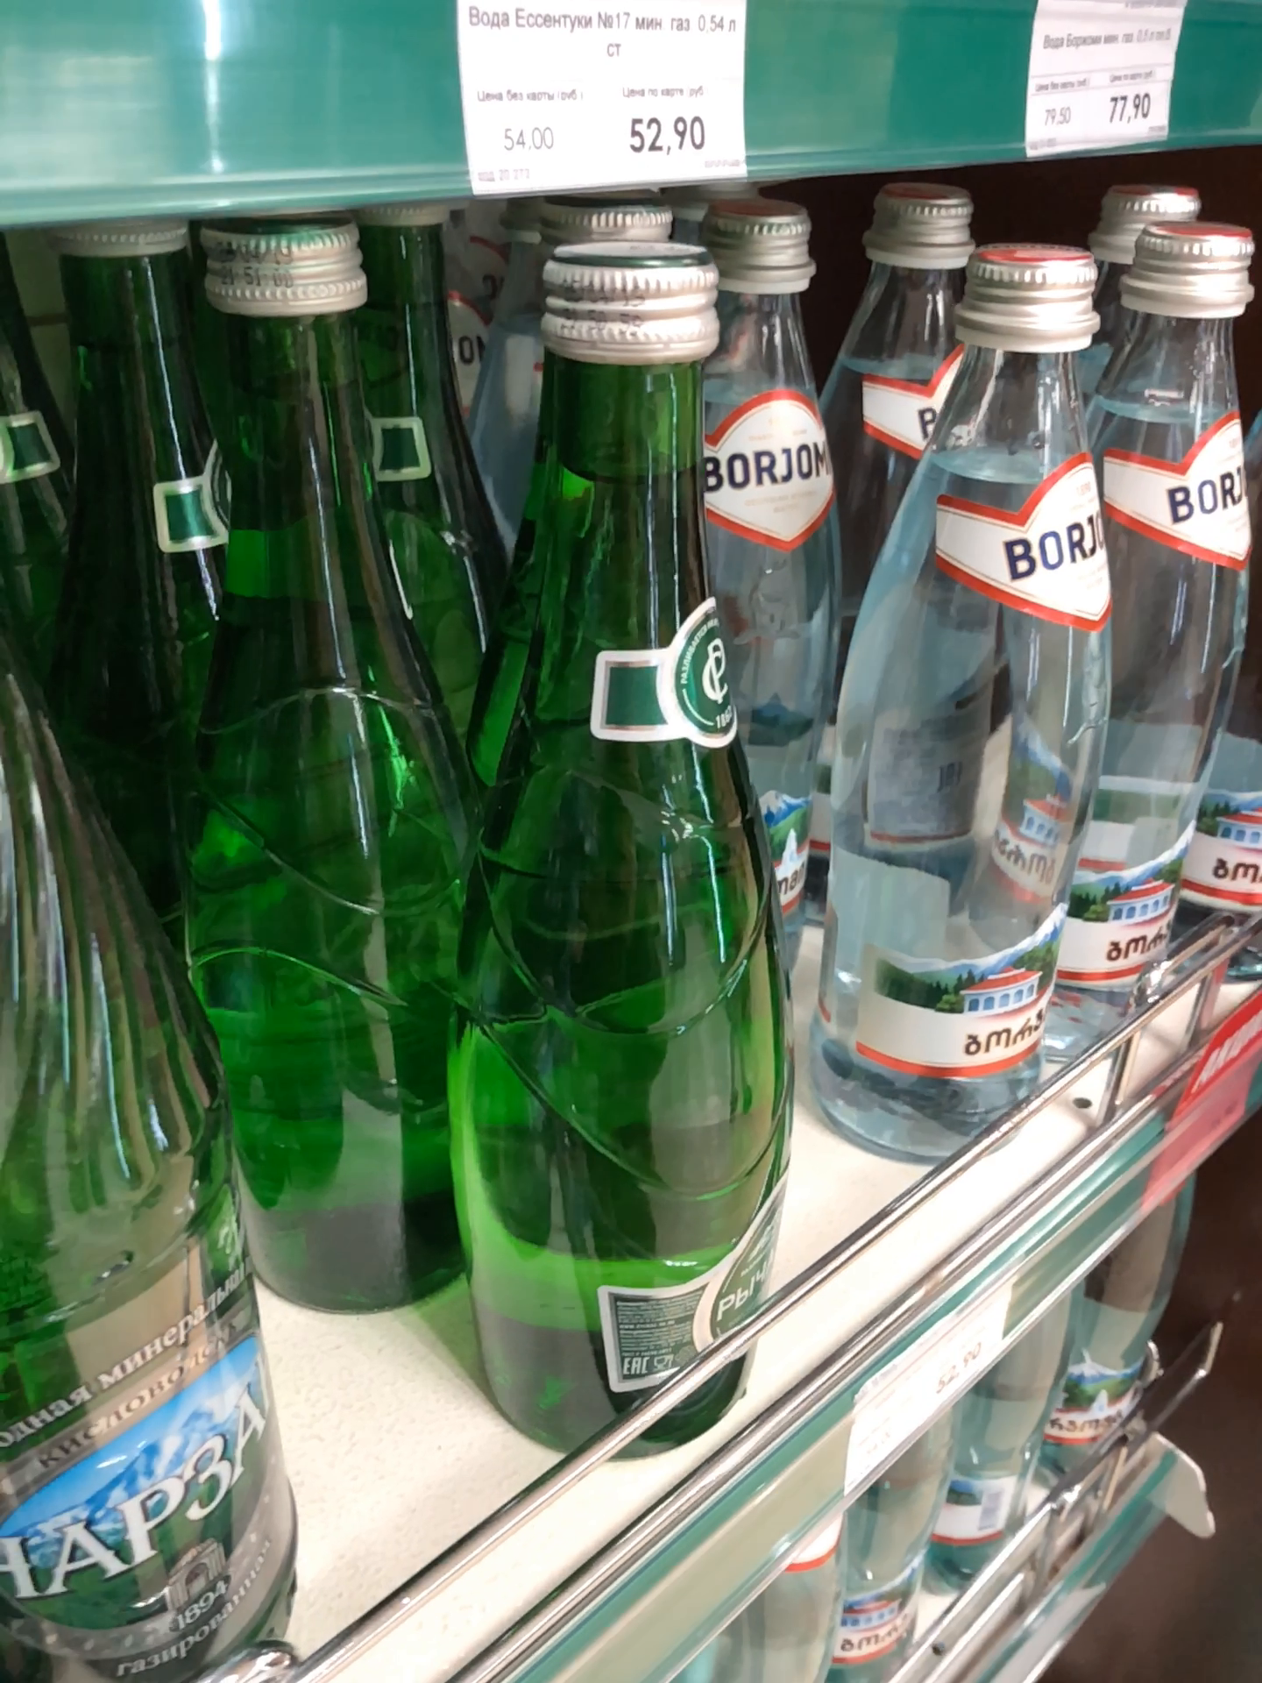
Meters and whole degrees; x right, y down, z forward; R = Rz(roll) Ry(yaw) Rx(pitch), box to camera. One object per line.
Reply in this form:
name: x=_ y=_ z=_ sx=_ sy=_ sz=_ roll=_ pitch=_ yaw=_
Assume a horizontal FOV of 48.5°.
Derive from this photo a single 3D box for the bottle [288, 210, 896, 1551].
bottle: x=-0.004 y=0.017 z=0.287 sx=0.070 sy=0.259 sz=0.080 roll=13 pitch=31 yaw=20
